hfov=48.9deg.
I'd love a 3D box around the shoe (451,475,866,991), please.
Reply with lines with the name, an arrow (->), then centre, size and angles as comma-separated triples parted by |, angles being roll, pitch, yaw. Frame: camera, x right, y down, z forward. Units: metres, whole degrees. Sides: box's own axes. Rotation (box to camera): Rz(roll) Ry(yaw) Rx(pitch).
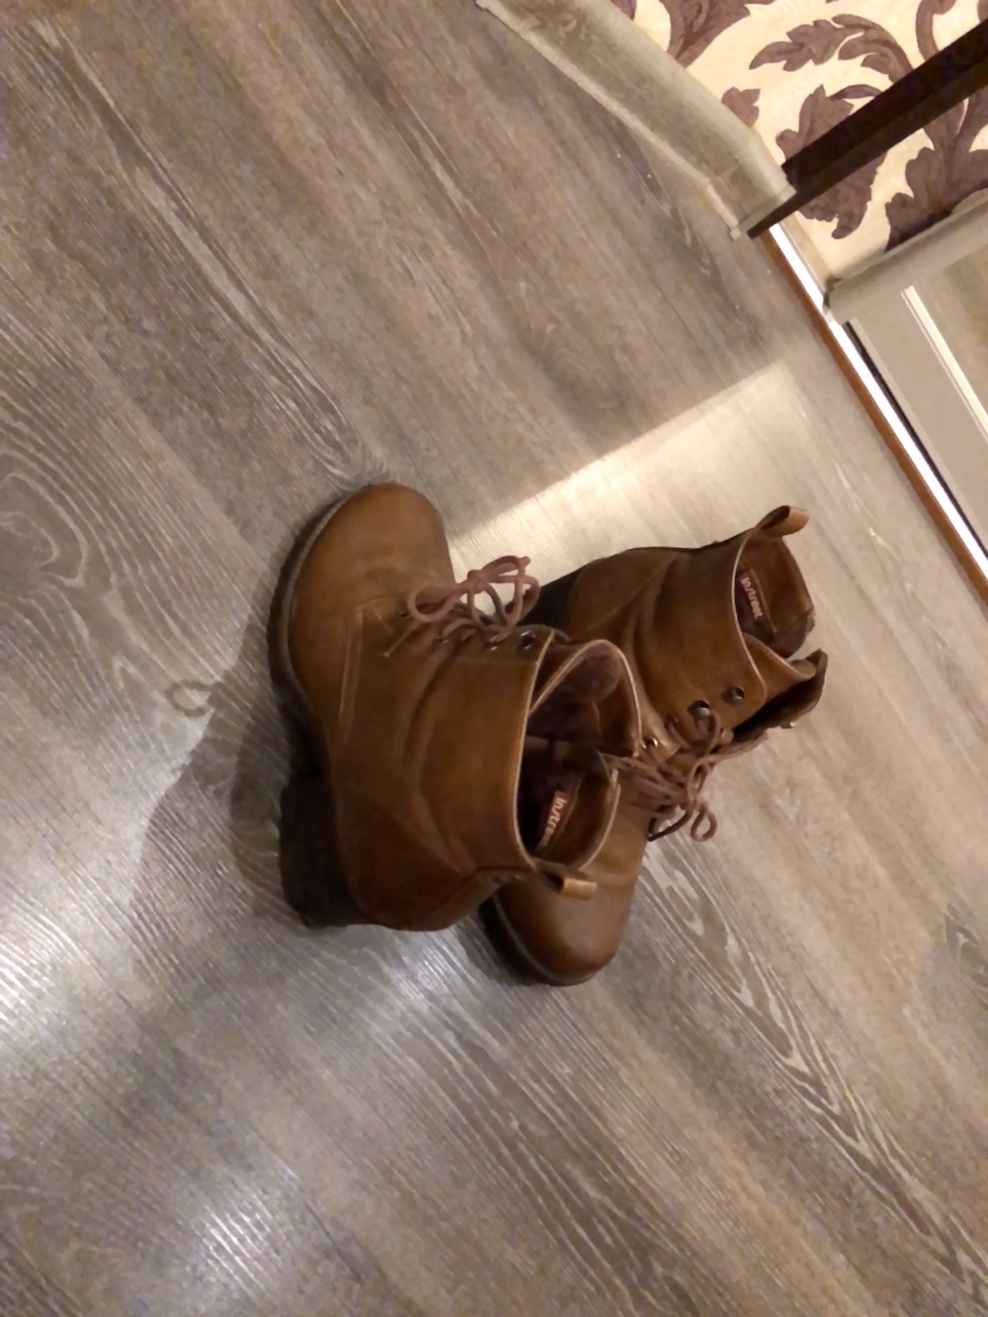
shoe -> 0.080, 0.052, 0.562 | 0.090, 0.189, 0.220 | 20, 65, -32

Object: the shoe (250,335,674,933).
shoe -> -0.020, 0.006, 0.492 | 0.100, 0.169, 0.220 | 13, 69, -35
